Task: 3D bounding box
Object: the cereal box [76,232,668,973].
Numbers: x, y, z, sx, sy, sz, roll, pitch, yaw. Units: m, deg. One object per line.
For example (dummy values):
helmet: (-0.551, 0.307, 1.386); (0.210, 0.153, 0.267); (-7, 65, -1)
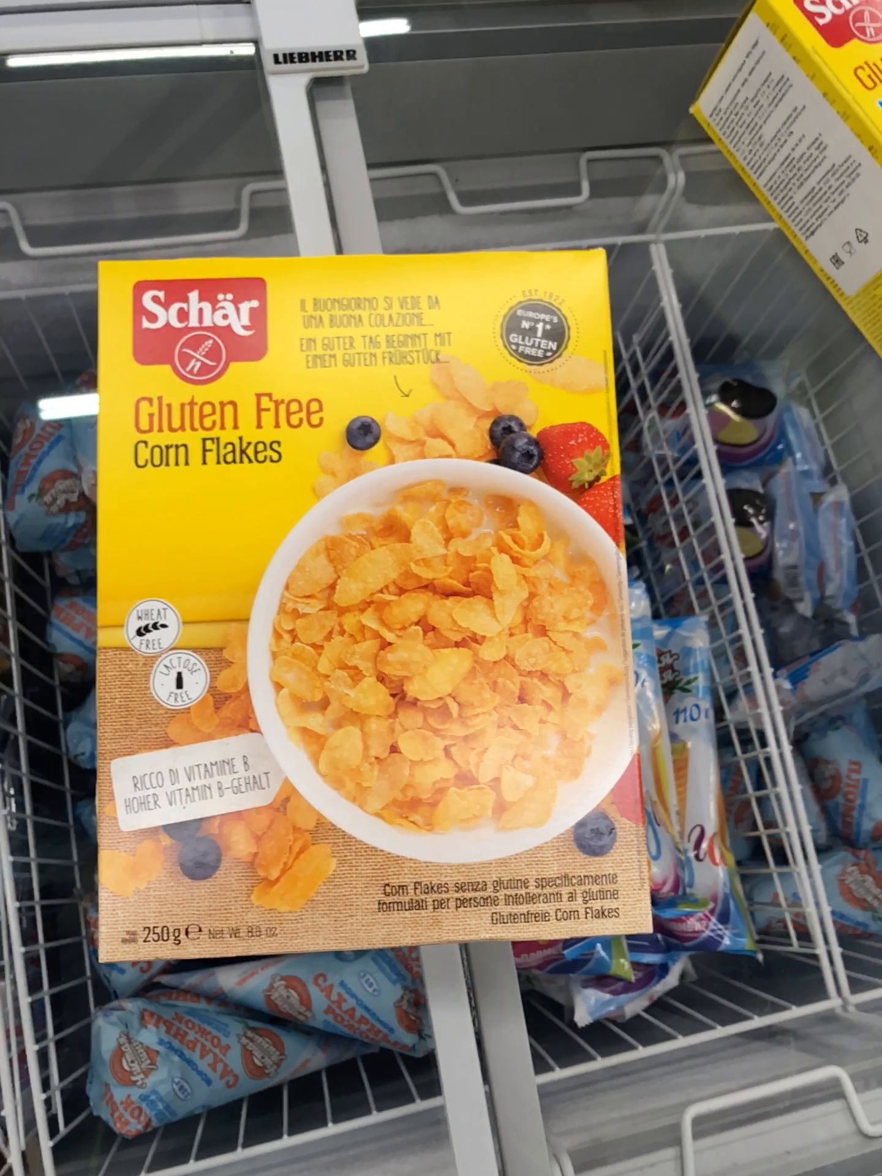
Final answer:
cereal box: (-0.029, 0.002, 0.387); (0.200, 0.080, 0.260); (-2, 82, -3)
